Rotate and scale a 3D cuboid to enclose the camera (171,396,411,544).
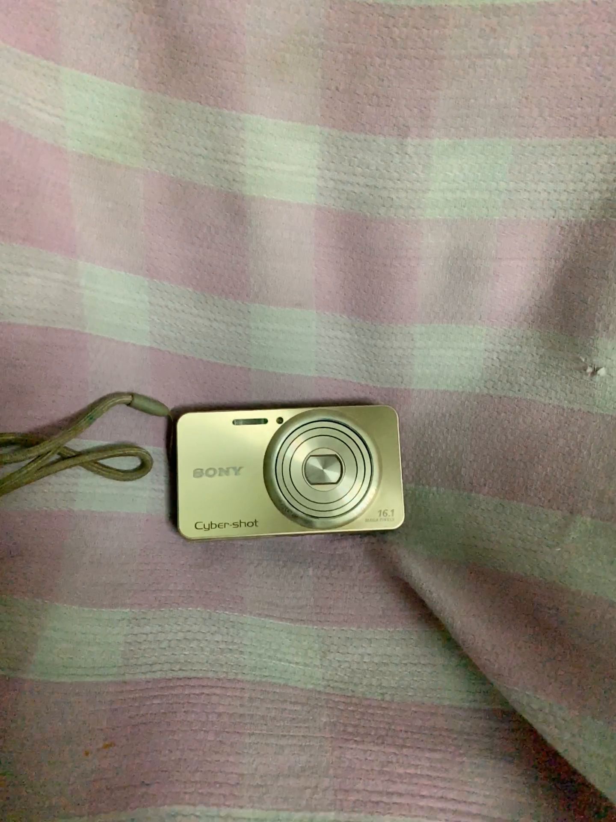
[{"bbox_3d":[-0.008,0.024,0.263,0.091,0.027,0.053,-3,82,-3],"label":"camera"}]
